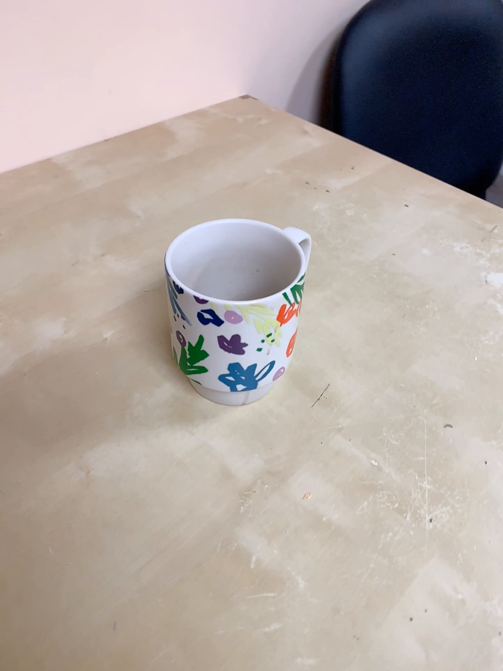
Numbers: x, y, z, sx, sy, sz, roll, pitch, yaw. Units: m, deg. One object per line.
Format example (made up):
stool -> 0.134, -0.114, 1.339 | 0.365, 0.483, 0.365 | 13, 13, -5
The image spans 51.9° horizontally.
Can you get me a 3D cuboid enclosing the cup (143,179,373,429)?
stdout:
cup -> 0.006, -0.027, 0.352 | 0.082, 0.095, 0.128 | 30, 50, 24
